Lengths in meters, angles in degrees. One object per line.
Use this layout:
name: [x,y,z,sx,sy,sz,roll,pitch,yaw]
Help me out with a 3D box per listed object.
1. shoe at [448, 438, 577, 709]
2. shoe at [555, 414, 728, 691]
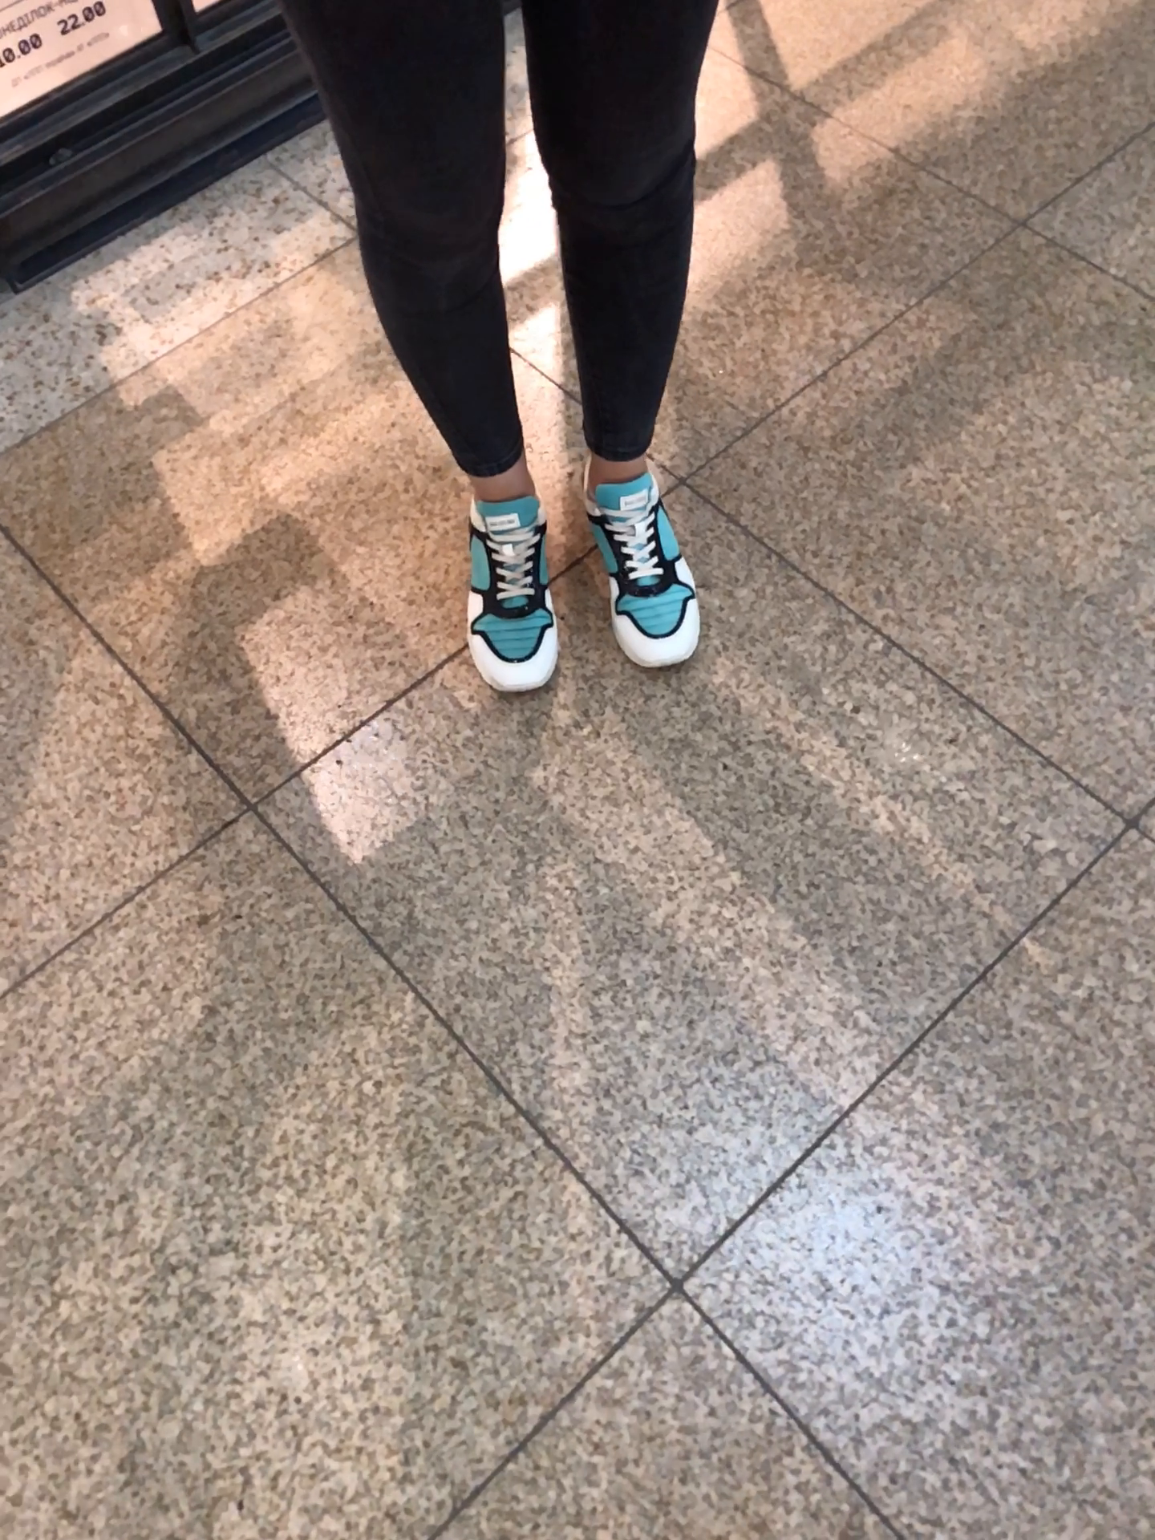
shoe: [-0.067,-0.201,1.288,0.100,0.120,0.240,-7,60,0]
shoe: [0.062,-0.222,1.280,0.100,0.120,0.240,-16,61,-5]
